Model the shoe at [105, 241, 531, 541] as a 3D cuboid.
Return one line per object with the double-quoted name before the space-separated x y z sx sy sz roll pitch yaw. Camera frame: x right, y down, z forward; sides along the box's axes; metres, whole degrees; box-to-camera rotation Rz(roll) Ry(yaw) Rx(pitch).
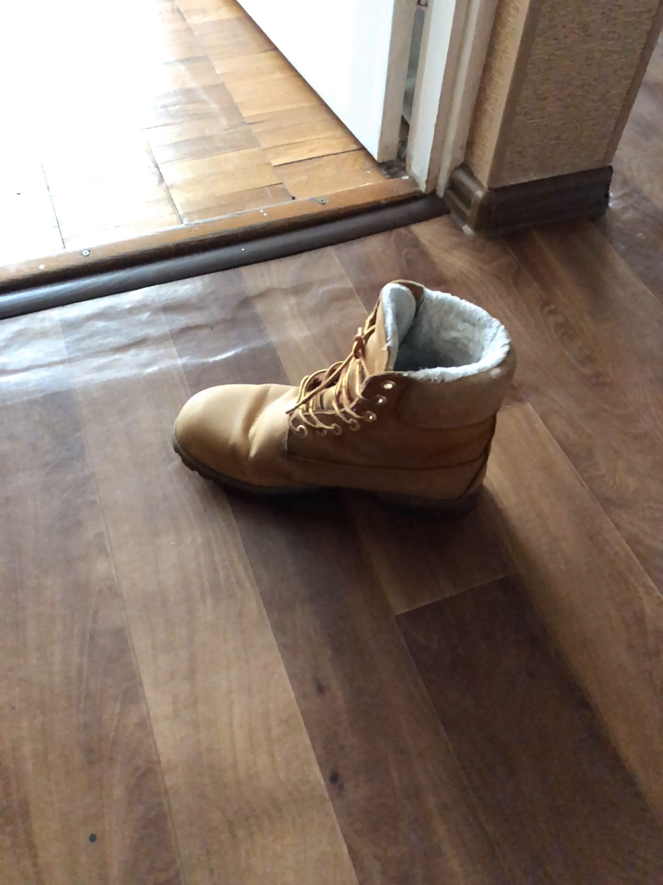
"shoe" -0.006 -0.037 0.596 0.290 0.179 0.121 8 54 4
